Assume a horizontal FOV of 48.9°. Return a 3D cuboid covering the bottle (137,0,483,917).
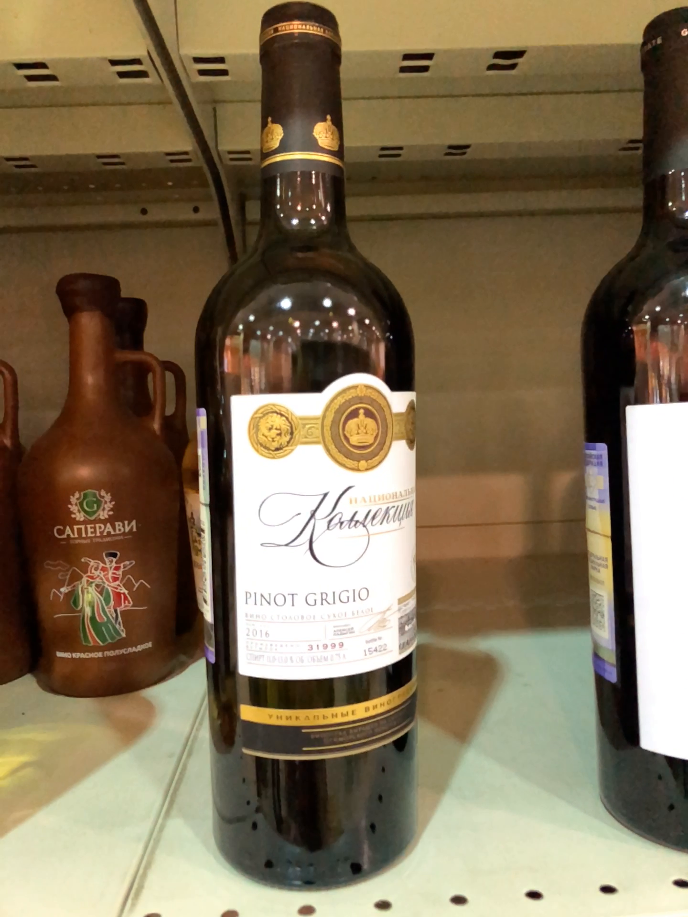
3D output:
[{"bbox_3d":[-0.016,-0.017,0.290,0.090,0.320,0.090,-2,2,0],"label":"bottle"}]
